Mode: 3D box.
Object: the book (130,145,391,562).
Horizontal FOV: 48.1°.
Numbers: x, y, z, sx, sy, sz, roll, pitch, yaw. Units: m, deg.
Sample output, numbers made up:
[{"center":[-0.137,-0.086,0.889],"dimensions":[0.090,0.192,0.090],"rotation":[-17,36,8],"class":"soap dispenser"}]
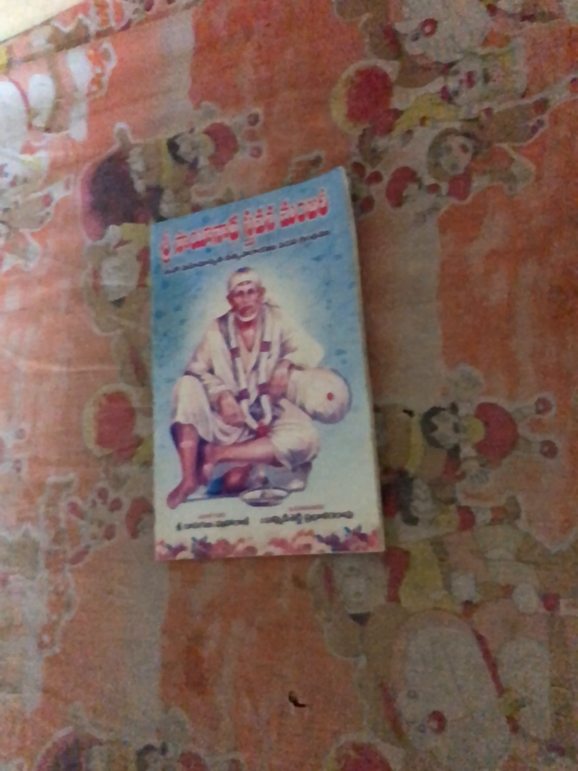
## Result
[{"center":[-0.023,-0.015,0.372],"dimensions":[0.140,0.020,0.220],"rotation":[-8,80,20],"class":"book"}]
